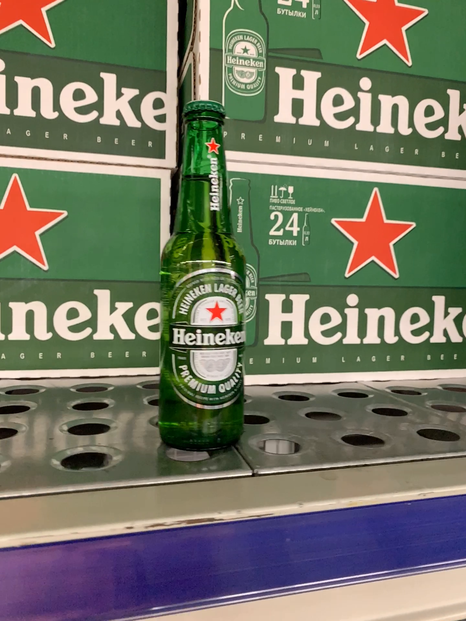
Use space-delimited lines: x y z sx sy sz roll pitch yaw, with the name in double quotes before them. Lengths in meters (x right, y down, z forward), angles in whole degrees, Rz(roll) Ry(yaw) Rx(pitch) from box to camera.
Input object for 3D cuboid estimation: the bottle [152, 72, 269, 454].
"bottle" -0.018 -0.028 0.324 0.060 0.226 0.060 2 3 0
